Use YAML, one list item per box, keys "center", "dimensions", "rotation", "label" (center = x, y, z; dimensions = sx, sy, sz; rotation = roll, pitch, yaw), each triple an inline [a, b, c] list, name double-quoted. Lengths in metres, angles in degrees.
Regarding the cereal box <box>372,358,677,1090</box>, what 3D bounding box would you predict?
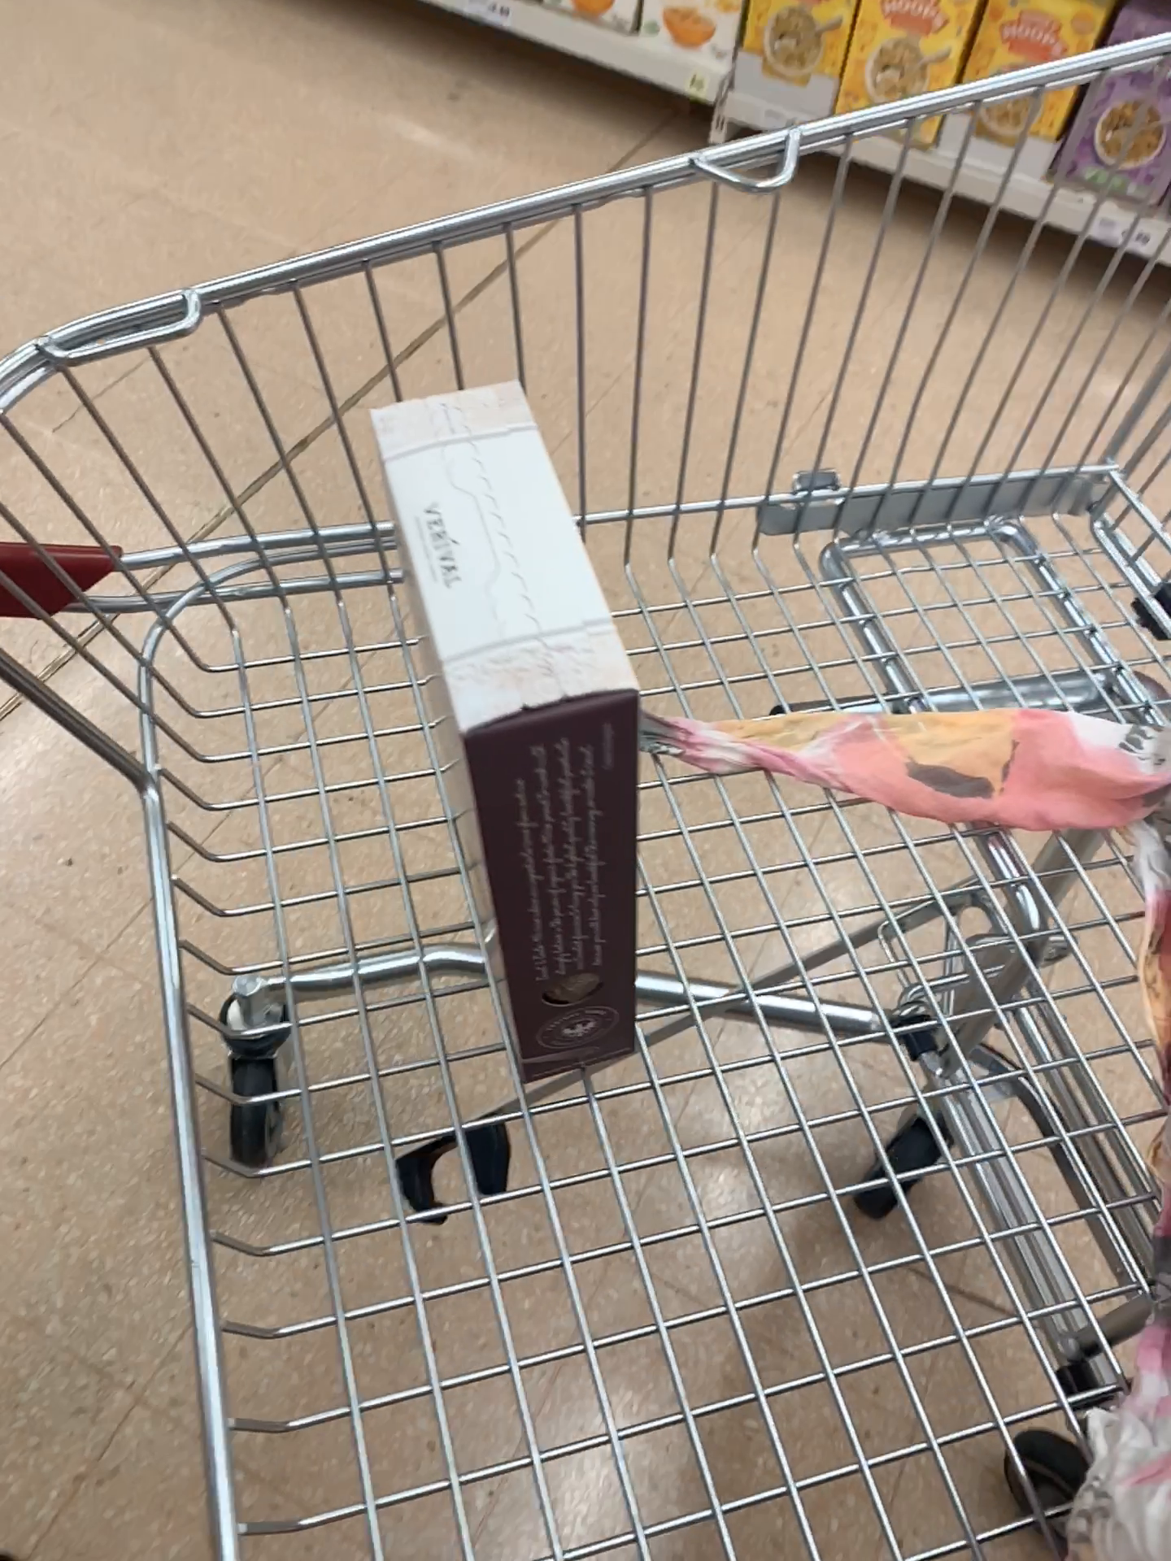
- center: [-0.018, -0.005, 0.410]
  dimensions: [0.050, 0.218, 0.141]
  rotation: [-13, 56, -8]
  label: "cereal box"
